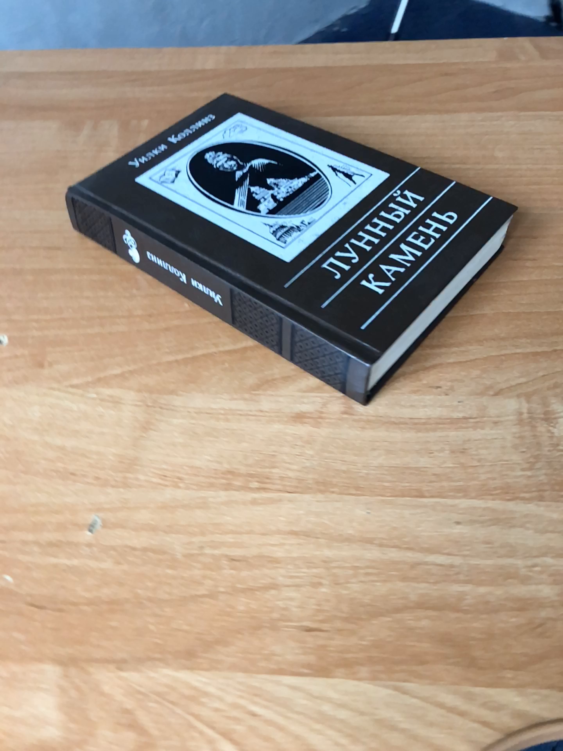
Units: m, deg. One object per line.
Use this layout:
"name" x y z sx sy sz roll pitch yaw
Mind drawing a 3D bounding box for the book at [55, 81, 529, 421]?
"book" 0.002 -0.081 0.327 0.199 0.032 0.133 32 61 24
